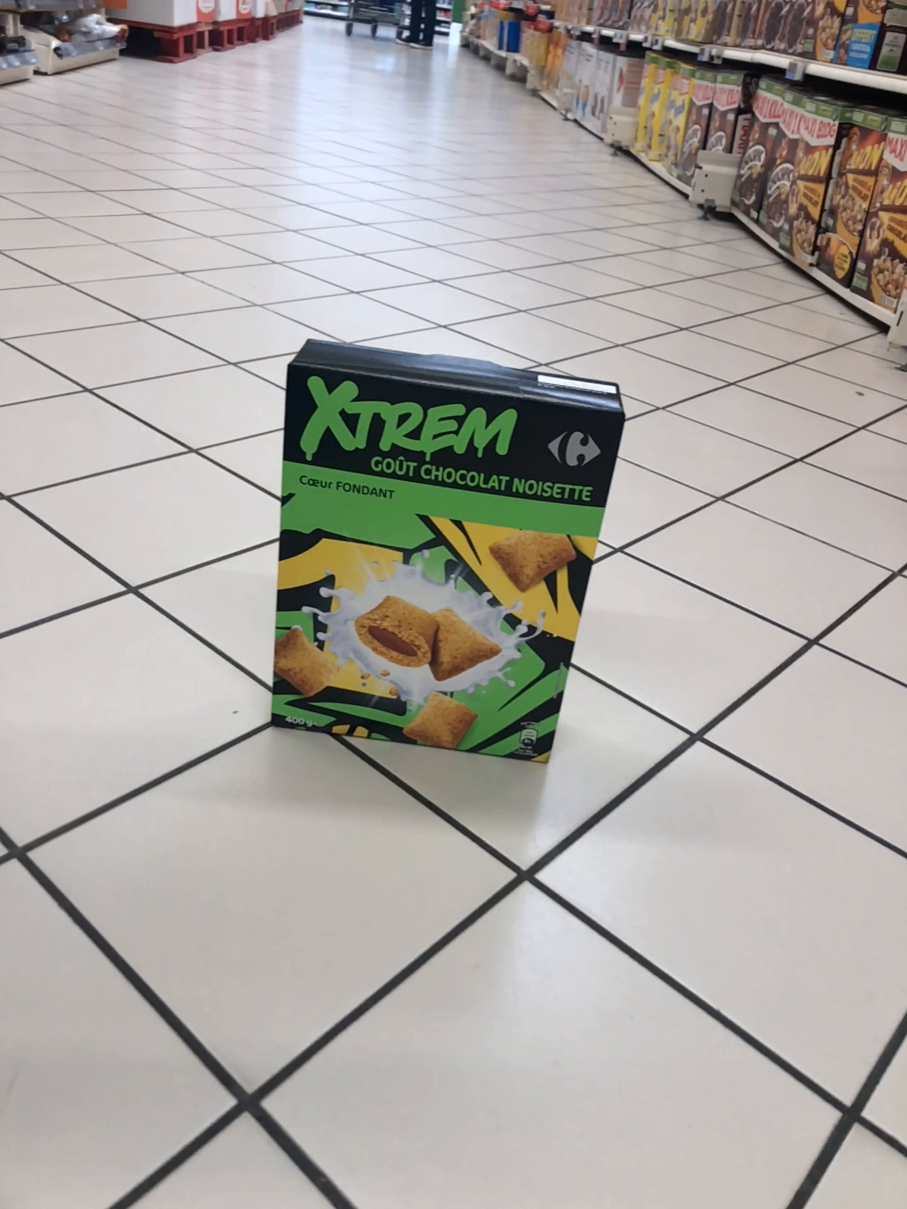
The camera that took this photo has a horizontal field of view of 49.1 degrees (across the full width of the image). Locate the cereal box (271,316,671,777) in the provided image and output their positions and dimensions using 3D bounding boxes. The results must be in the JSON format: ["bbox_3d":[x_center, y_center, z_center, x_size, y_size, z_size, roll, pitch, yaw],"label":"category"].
[{"bbox_3d":[0.002,-0.031,0.609,0.200,0.239,0.091,9,30,1],"label":"cereal box"}]
